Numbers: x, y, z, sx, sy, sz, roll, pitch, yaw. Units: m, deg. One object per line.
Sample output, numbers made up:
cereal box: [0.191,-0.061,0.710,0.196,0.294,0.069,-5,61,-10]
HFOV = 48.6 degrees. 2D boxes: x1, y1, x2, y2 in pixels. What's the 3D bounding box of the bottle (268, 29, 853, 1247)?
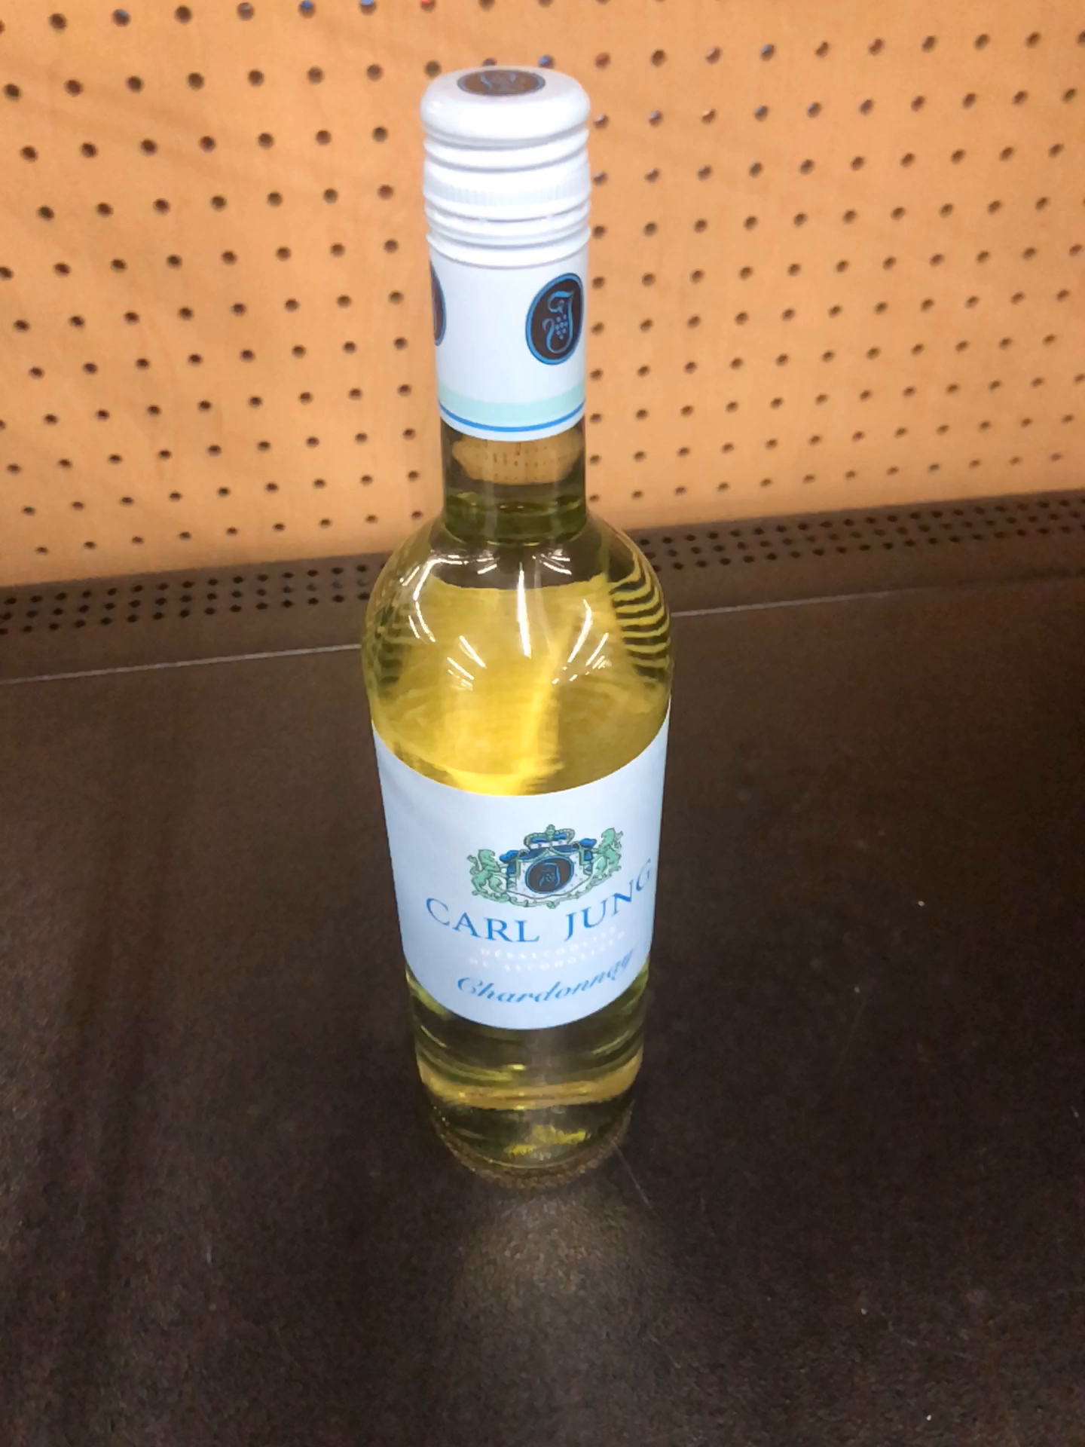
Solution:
bottle: [-0.001,0.014,0.307,0.080,0.318,0.081,0,42,0]
